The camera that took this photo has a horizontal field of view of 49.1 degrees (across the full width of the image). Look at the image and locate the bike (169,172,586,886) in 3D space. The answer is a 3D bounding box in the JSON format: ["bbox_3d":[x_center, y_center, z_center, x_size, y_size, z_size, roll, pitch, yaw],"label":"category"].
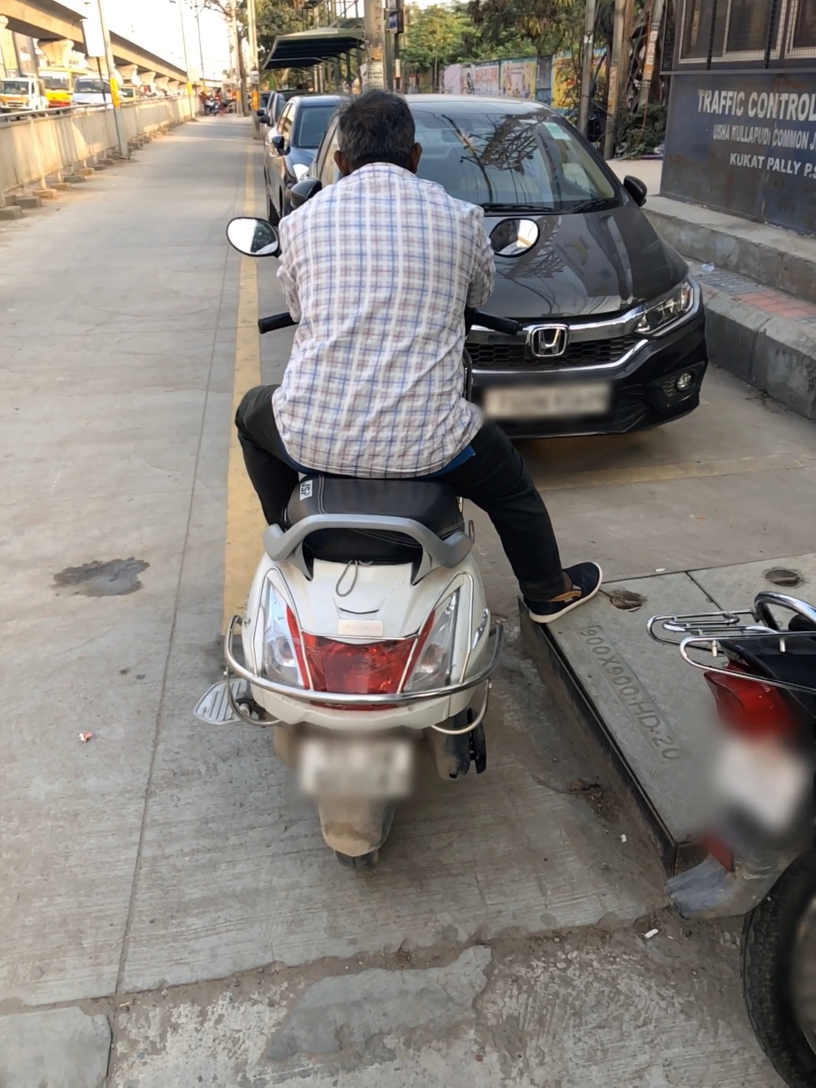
[{"bbox_3d":[0.002,-0.212,2.199,0.641,0.858,1.609,0,35,3],"label":"bike"}]
